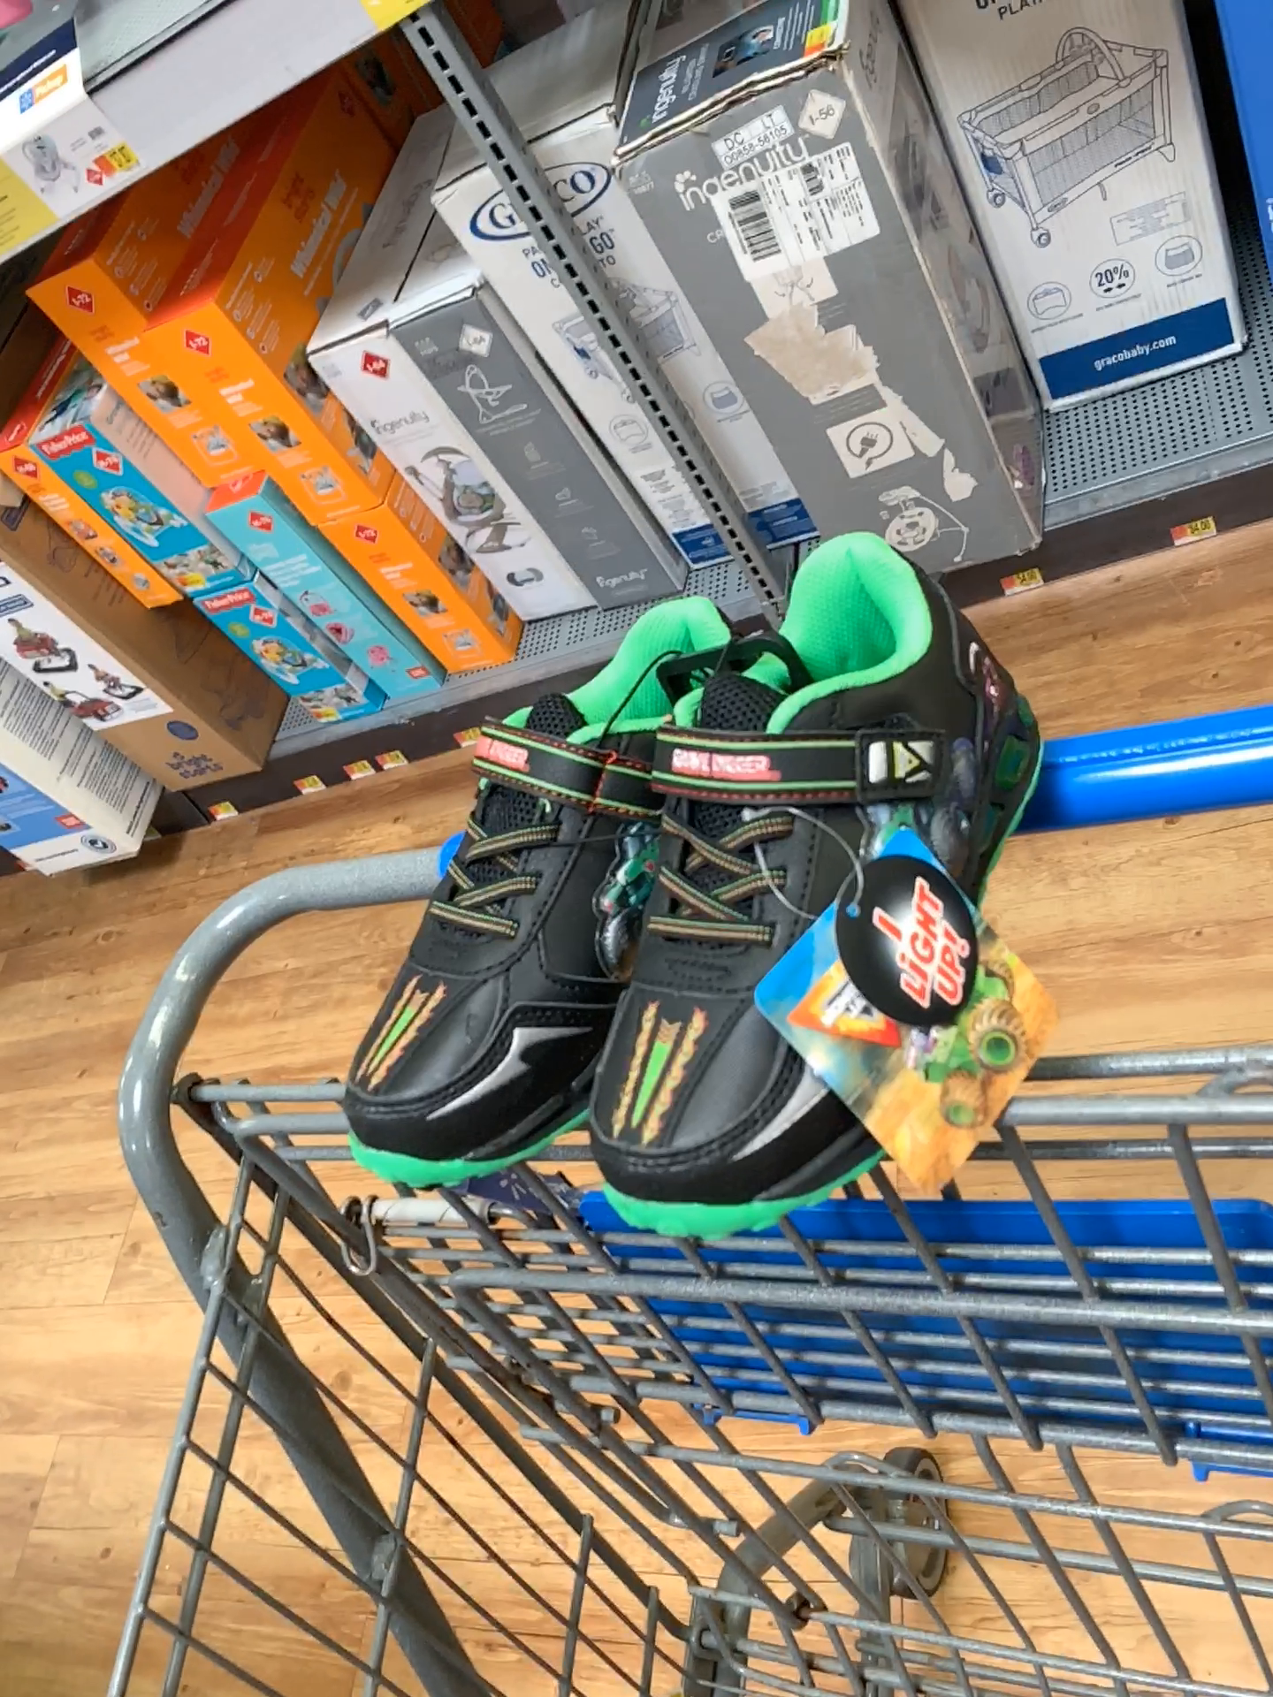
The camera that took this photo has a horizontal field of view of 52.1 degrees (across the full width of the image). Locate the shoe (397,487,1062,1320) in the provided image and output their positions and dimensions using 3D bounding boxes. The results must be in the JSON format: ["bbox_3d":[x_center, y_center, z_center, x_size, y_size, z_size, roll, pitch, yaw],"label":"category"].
[{"bbox_3d":[0.037,0.009,0.363,0.095,0.093,0.194,5,61,37],"label":"shoe"}]

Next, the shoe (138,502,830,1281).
[{"bbox_3d":[-0.038,0.004,0.402,0.090,0.086,0.213,13,66,40],"label":"shoe"}]
